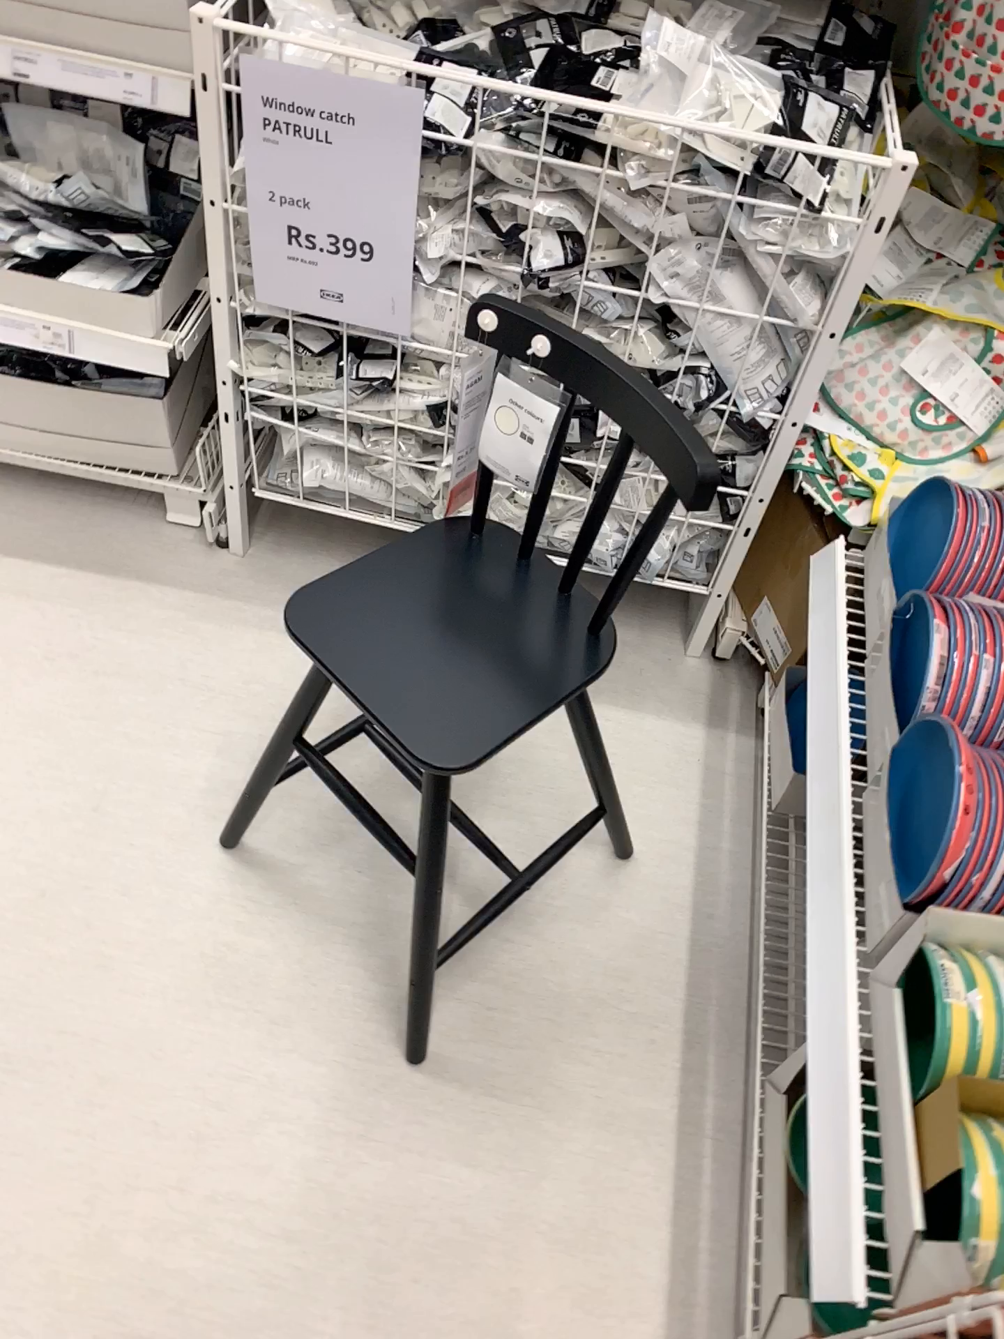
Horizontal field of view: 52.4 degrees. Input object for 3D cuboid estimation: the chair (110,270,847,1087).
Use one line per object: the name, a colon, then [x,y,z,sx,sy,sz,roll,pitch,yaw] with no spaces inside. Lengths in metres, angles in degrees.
chair: [-0.049,0.040,1.129,0.461,0.688,0.421,-33,64,-29]
